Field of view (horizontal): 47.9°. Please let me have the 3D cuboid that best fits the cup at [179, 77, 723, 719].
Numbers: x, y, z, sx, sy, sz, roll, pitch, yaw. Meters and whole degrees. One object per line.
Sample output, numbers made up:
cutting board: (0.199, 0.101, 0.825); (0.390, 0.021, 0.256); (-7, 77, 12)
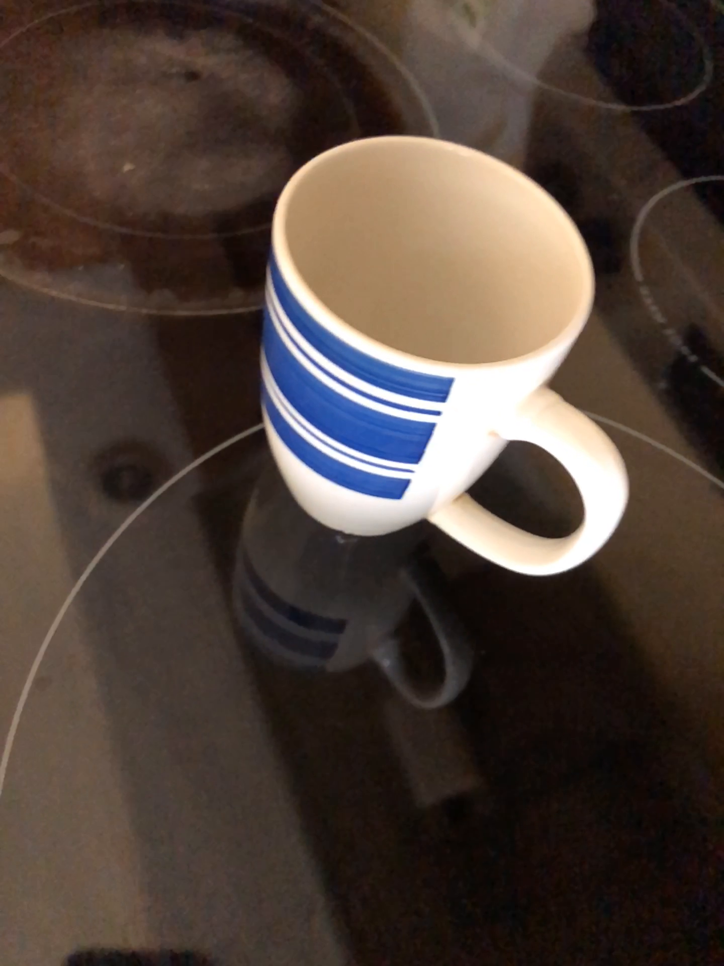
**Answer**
cup: (0.021, -0.022, 0.216); (0.080, 0.090, 0.120); (-35, 71, -28)
